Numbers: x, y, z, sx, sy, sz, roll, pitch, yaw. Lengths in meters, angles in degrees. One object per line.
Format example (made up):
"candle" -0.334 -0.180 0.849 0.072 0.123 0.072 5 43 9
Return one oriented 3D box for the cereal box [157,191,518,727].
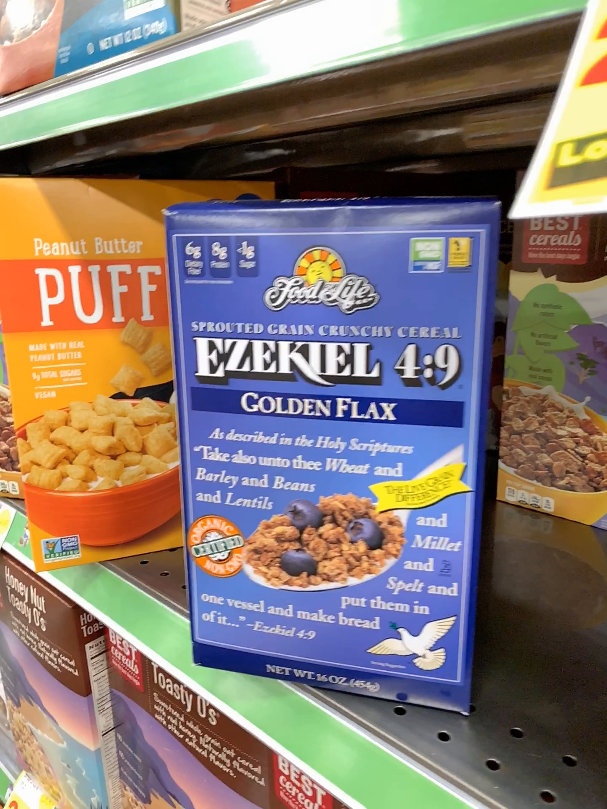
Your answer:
"cereal box" 0.019 0.025 0.327 0.160 0.249 0.060 3 14 16
